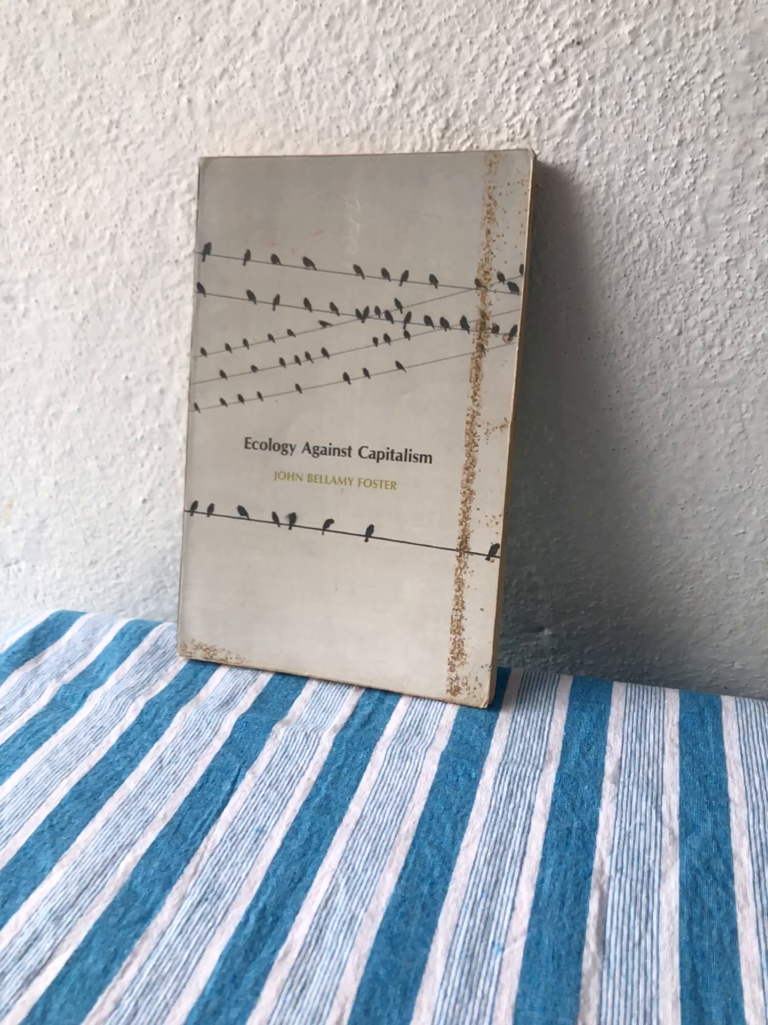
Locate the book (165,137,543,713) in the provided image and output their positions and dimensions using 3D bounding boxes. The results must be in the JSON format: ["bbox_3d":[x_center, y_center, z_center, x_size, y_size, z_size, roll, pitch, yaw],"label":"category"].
[{"bbox_3d":[-0.015,-0.037,0.349,0.140,0.210,0.030,5,2,20],"label":"book"}]
